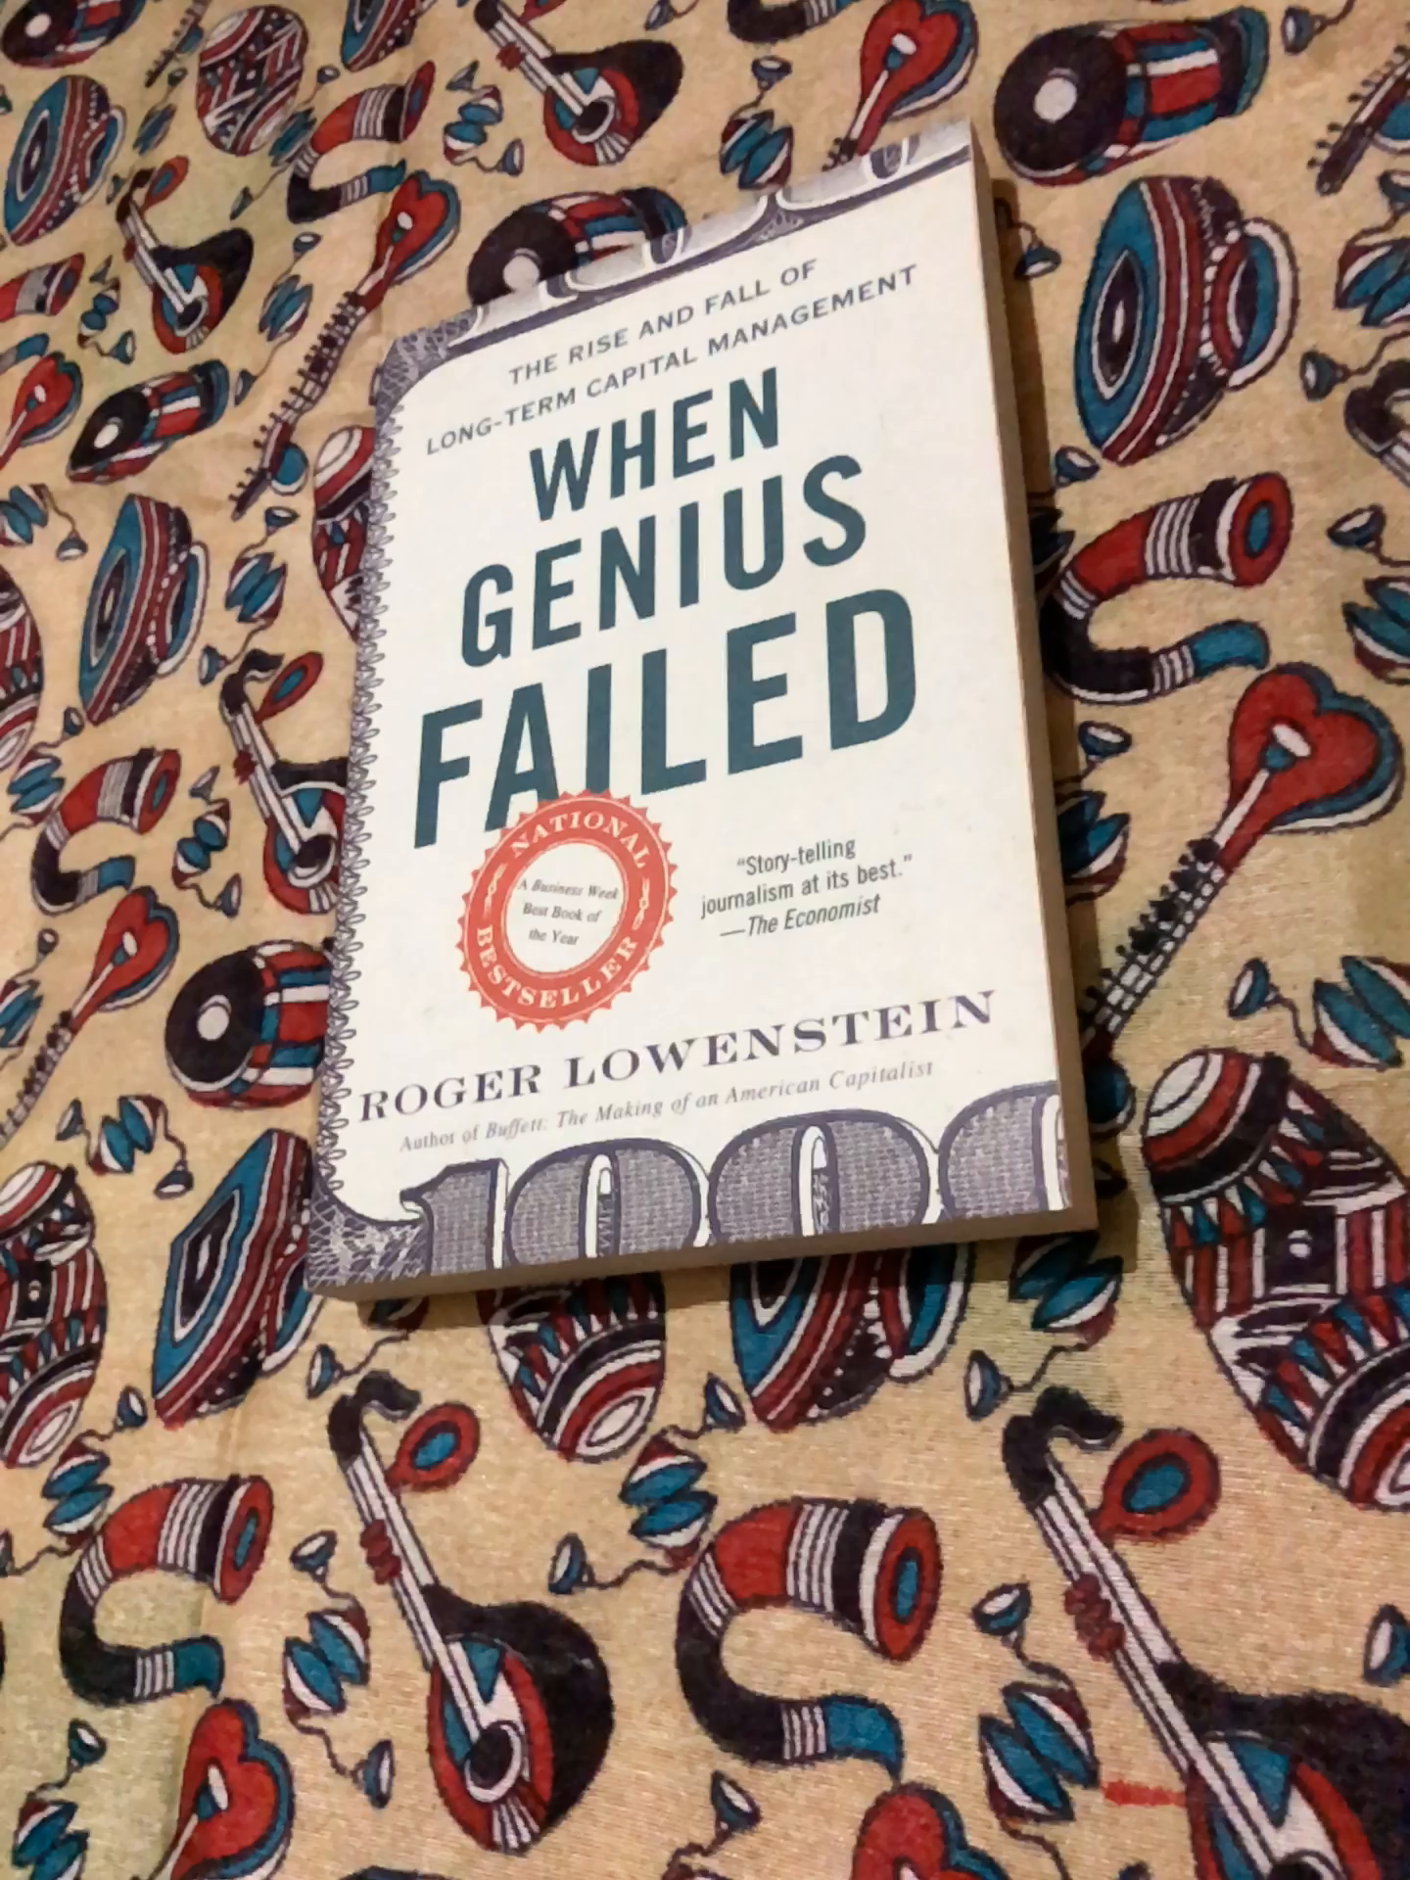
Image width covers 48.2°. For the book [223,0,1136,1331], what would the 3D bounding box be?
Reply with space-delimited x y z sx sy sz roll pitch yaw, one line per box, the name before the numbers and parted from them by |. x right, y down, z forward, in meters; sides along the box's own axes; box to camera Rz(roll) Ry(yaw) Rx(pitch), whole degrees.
book | -0.010 -0.050 0.281 0.140 0.030 0.220 -11 67 22
